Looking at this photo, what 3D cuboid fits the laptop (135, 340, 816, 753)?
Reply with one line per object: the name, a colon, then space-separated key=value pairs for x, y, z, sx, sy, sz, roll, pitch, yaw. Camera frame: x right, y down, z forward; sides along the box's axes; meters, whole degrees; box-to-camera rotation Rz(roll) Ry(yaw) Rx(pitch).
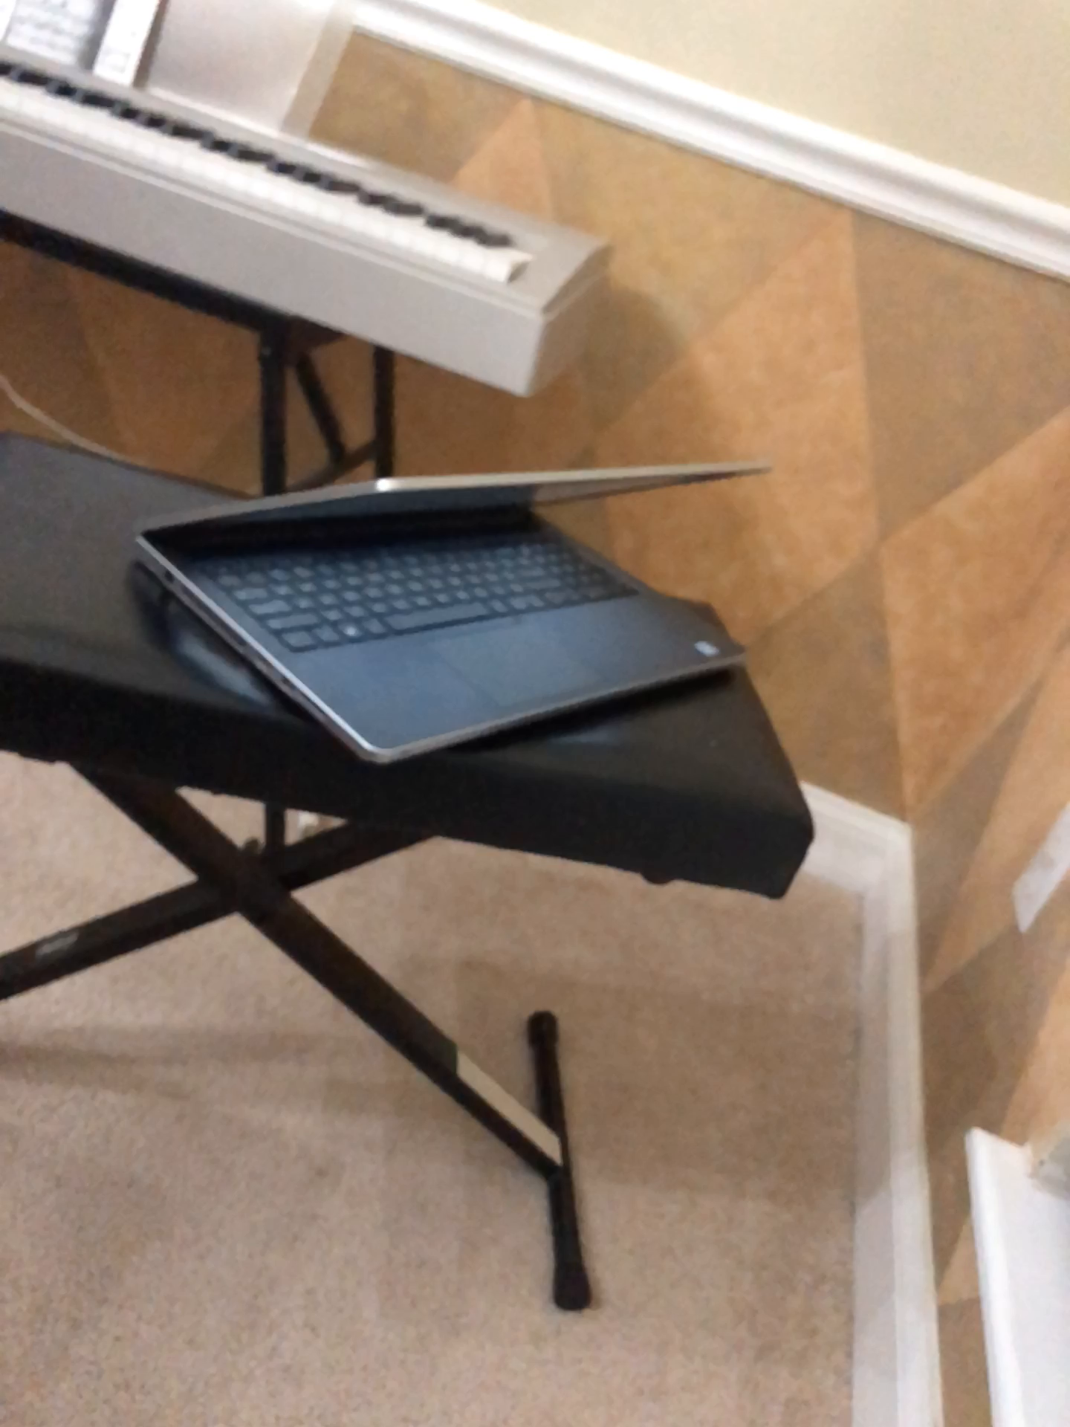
laptop: x=-0.031 y=-0.139 z=0.839 sx=0.262 sy=0.136 sz=0.376 roll=38 pitch=34 yaw=30
